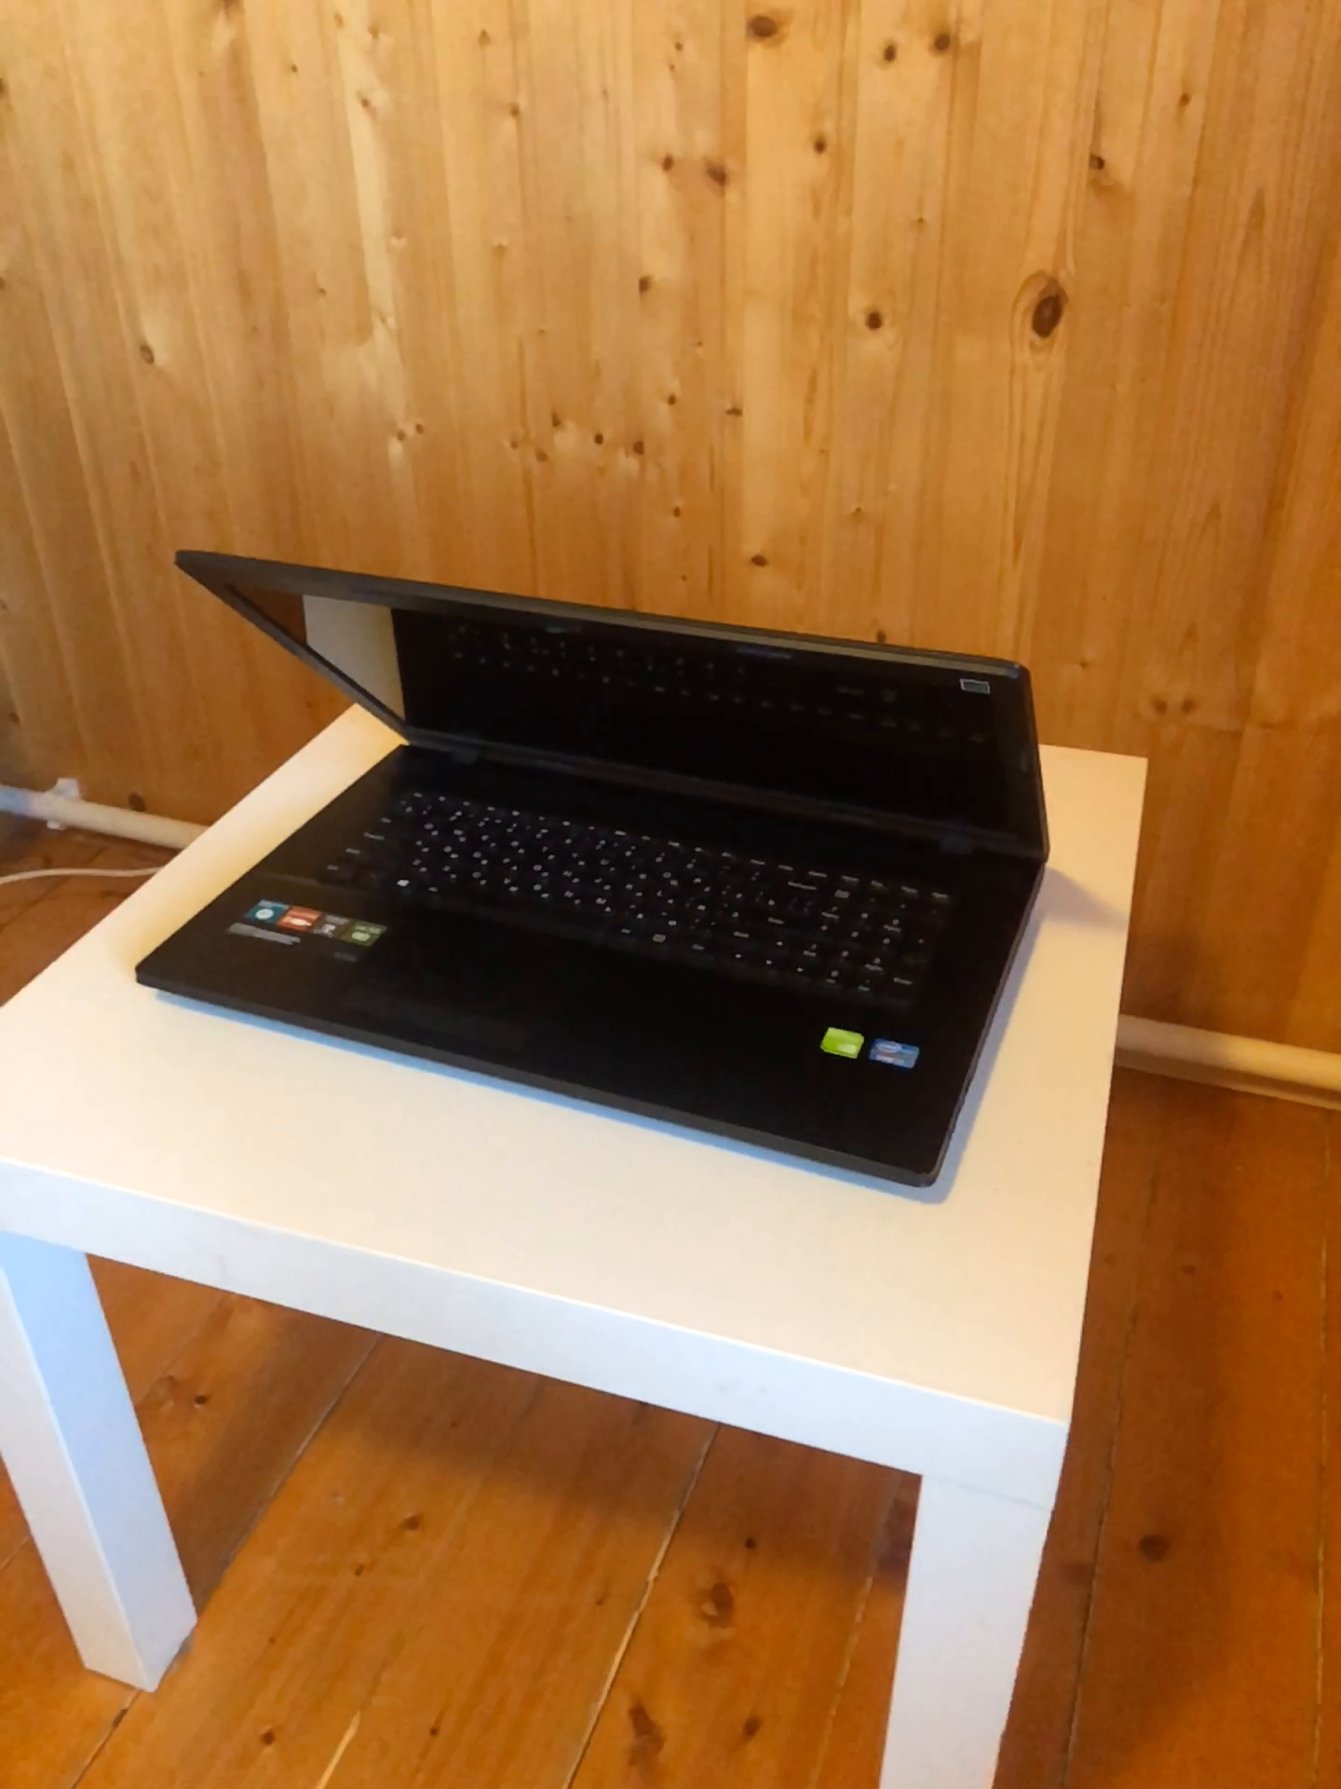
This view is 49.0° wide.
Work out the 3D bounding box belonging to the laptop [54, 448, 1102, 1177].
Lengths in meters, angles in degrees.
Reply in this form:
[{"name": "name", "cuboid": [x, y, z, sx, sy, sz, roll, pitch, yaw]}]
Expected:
[{"name": "laptop", "cuboid": [-0.026, -0.066, 0.715, 0.401, 0.183, 0.252, 12, 35, 17]}]
